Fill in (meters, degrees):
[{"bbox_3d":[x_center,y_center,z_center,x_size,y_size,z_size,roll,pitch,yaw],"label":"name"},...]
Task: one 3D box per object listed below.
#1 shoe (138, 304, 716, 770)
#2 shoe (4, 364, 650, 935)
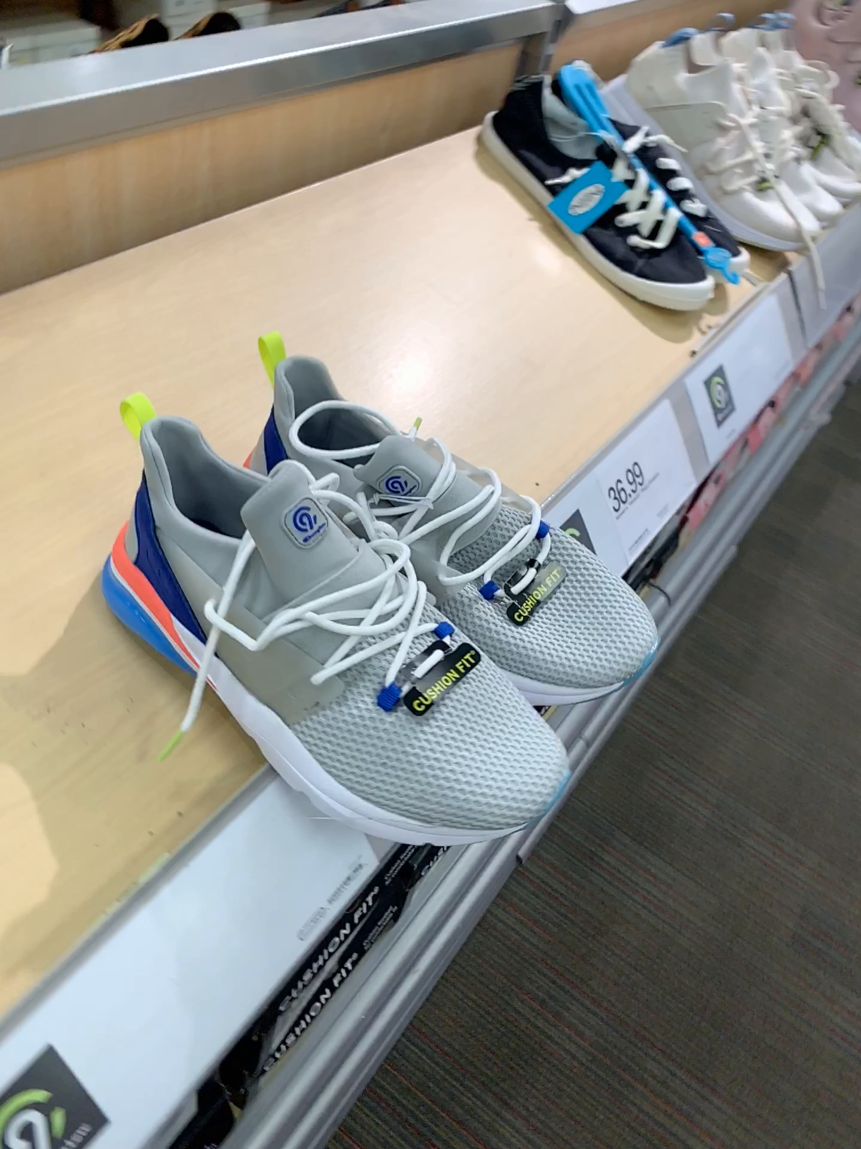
[{"bbox_3d":[-0.008,-0.029,0.468,0.270,0.090,0.110,28,46,12],"label":"shoe"},{"bbox_3d":[-0.054,0.021,0.413,0.270,0.090,0.110,33,47,17],"label":"shoe"}]
